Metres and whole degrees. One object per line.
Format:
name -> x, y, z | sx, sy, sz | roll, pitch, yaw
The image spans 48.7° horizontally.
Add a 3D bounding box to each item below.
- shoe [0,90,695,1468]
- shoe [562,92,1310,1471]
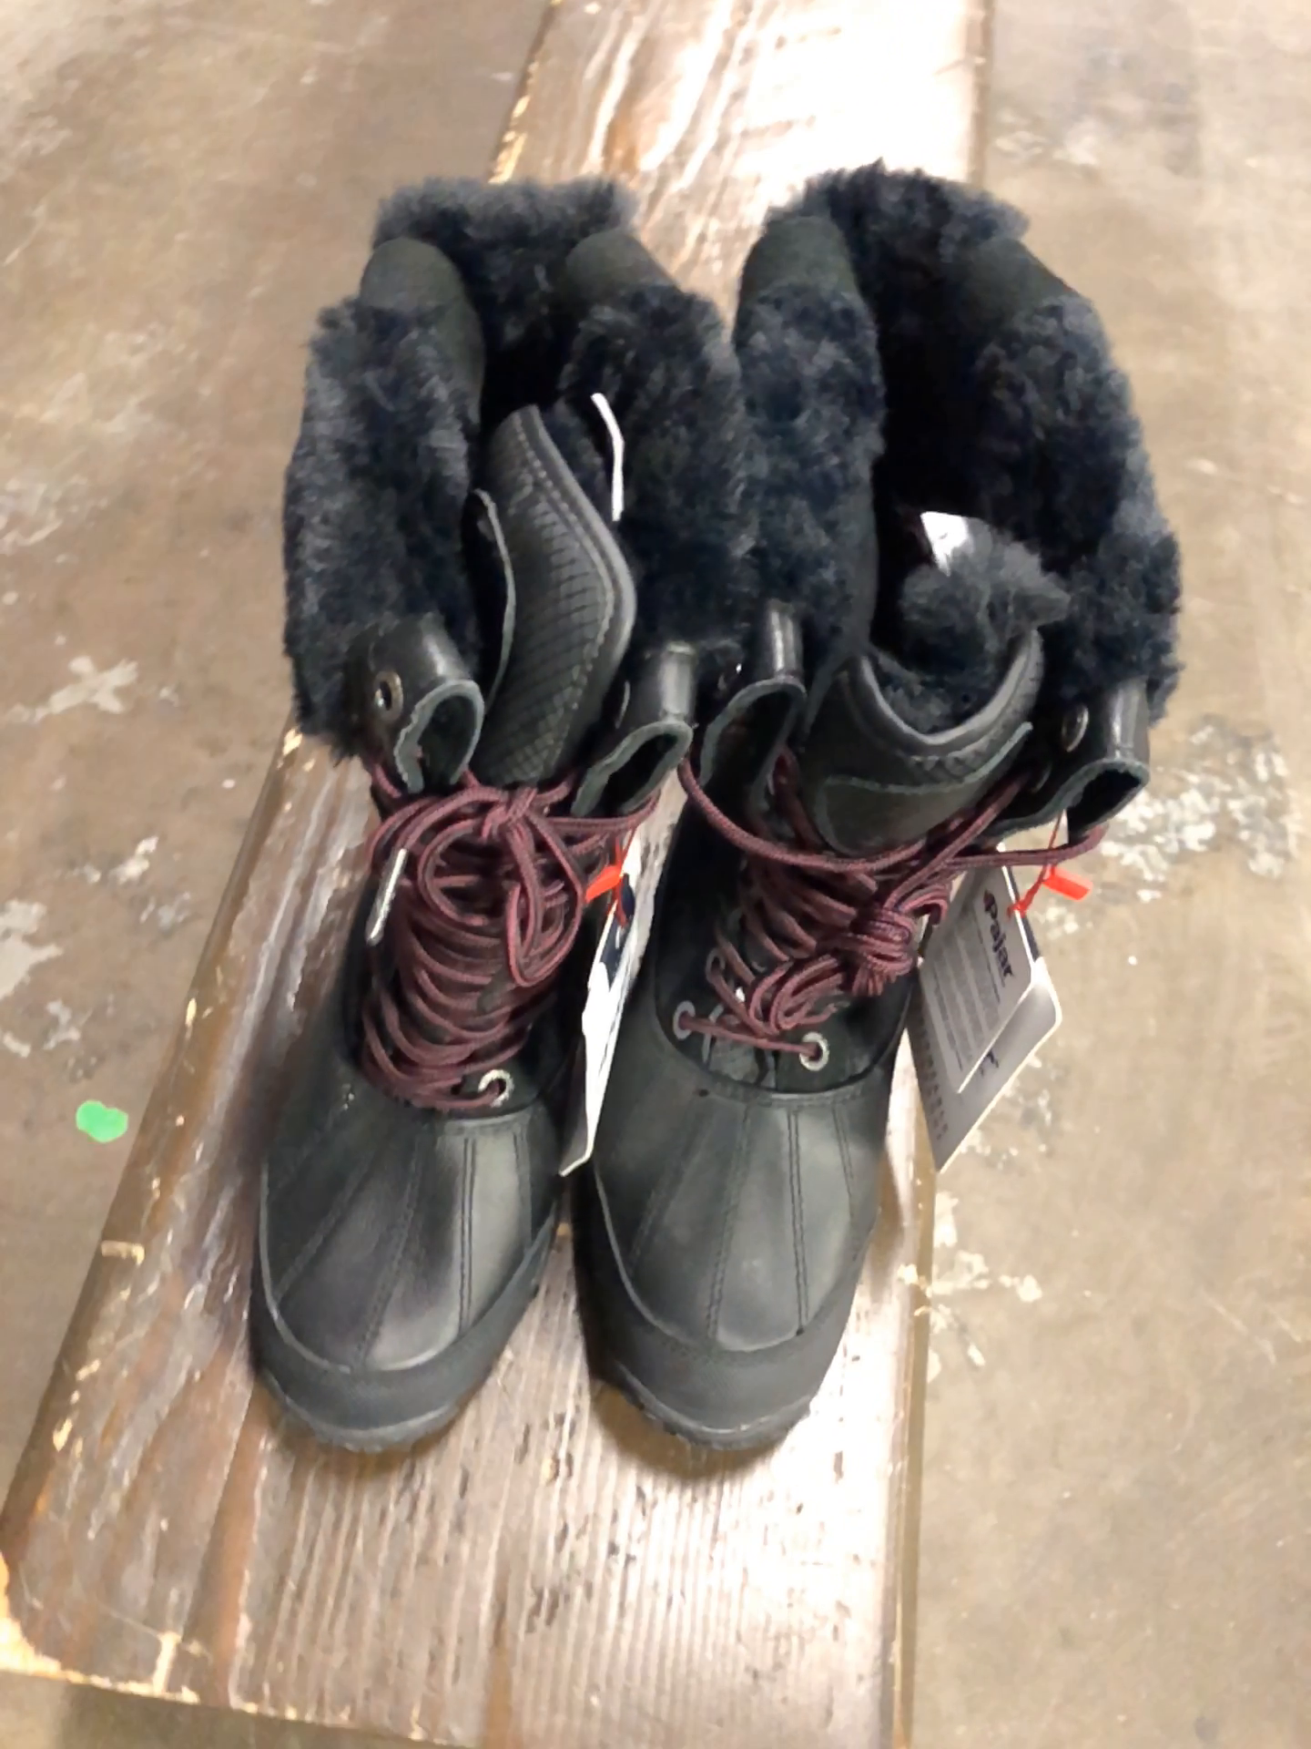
shoe -> -0.061, 0.001, 0.357 | 0.100, 0.258, 0.221 | 6, 58, -2
shoe -> 0.043, 0.000, 0.365 | 0.100, 0.258, 0.231 | 6, 58, -2
